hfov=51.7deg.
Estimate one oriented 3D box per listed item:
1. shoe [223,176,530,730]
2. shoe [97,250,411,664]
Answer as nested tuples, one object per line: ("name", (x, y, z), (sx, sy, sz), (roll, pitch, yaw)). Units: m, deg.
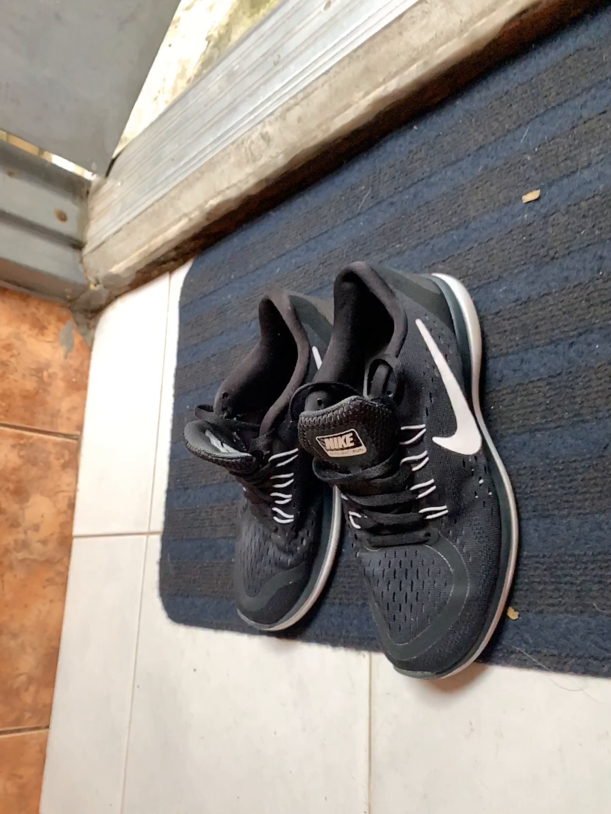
("shoe", (0.043, 0.026, 0.356), (0.107, 0.118, 0.248), (-11, 71, 45))
("shoe", (-0.036, 0.031, 0.442), (0.105, 0.118, 0.248), (17, 91, 49))
